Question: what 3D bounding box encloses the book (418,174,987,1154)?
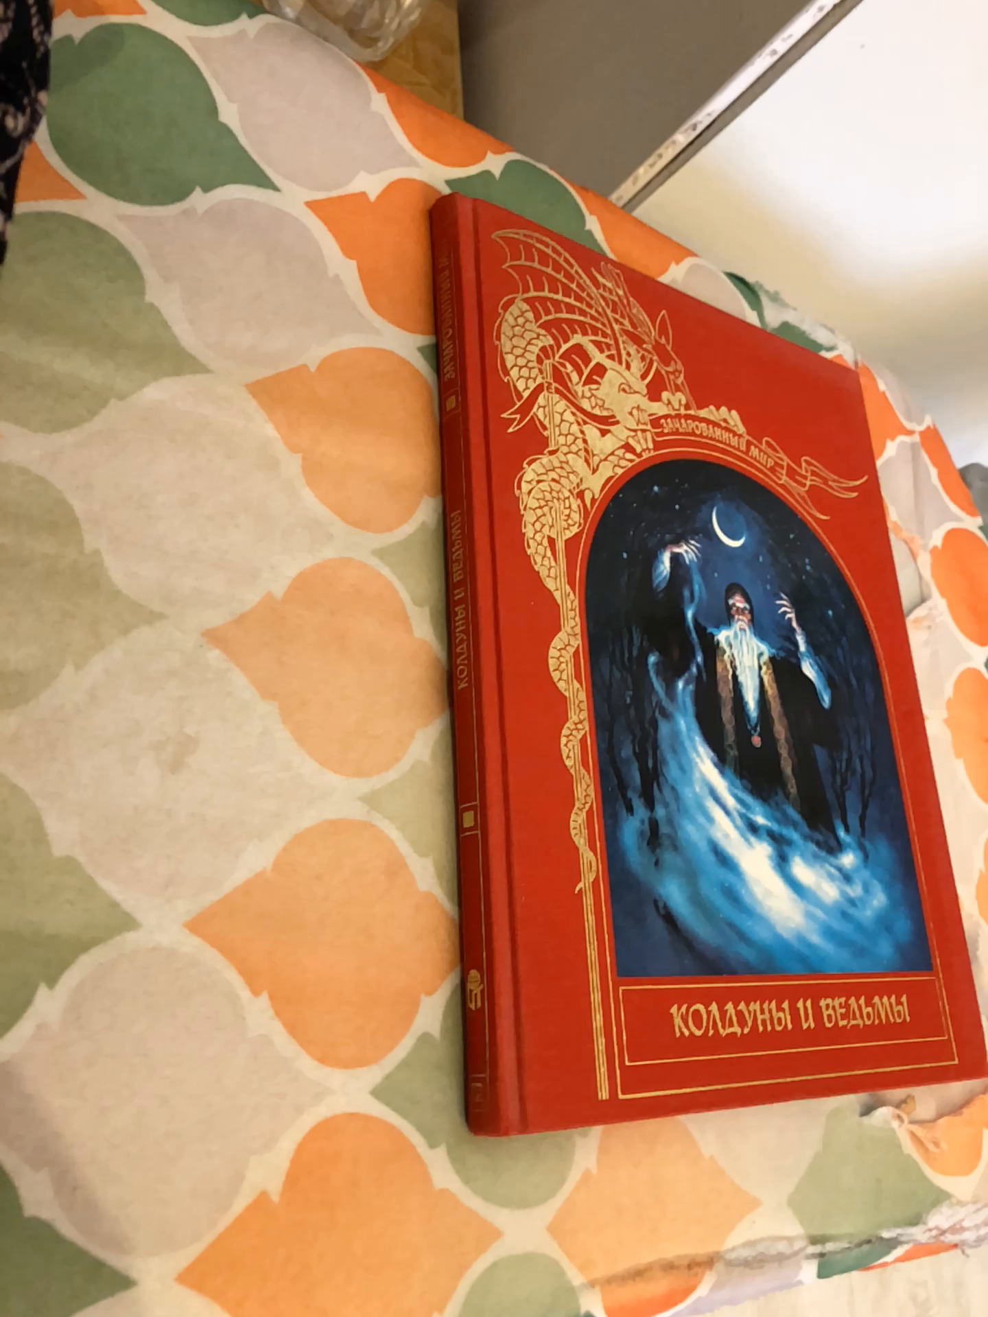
[{"bbox_3d":[0.077,-0.002,0.372,0.216,0.020,0.291,10,66,-34],"label":"book"}]
